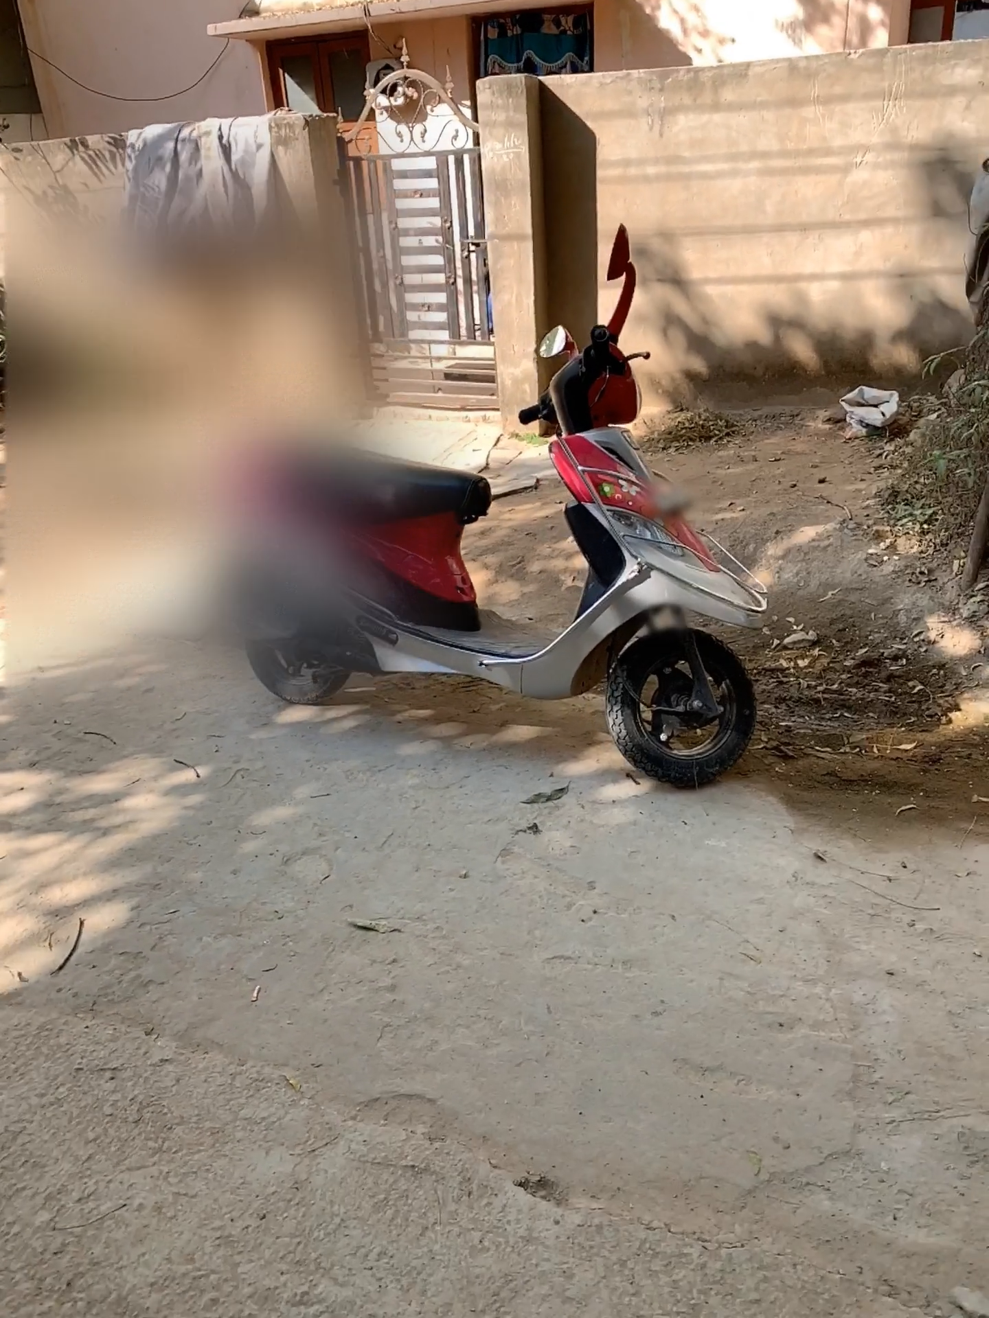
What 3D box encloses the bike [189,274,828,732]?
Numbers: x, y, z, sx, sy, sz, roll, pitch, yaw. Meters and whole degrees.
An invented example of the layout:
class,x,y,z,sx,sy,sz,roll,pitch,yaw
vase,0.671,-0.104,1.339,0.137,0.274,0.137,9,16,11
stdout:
class,x,y,z,sx,sy,sz,roll,pitch,yaw
bike,0.044,-0.438,2.786,1.495,1.037,0.485,6,28,21
